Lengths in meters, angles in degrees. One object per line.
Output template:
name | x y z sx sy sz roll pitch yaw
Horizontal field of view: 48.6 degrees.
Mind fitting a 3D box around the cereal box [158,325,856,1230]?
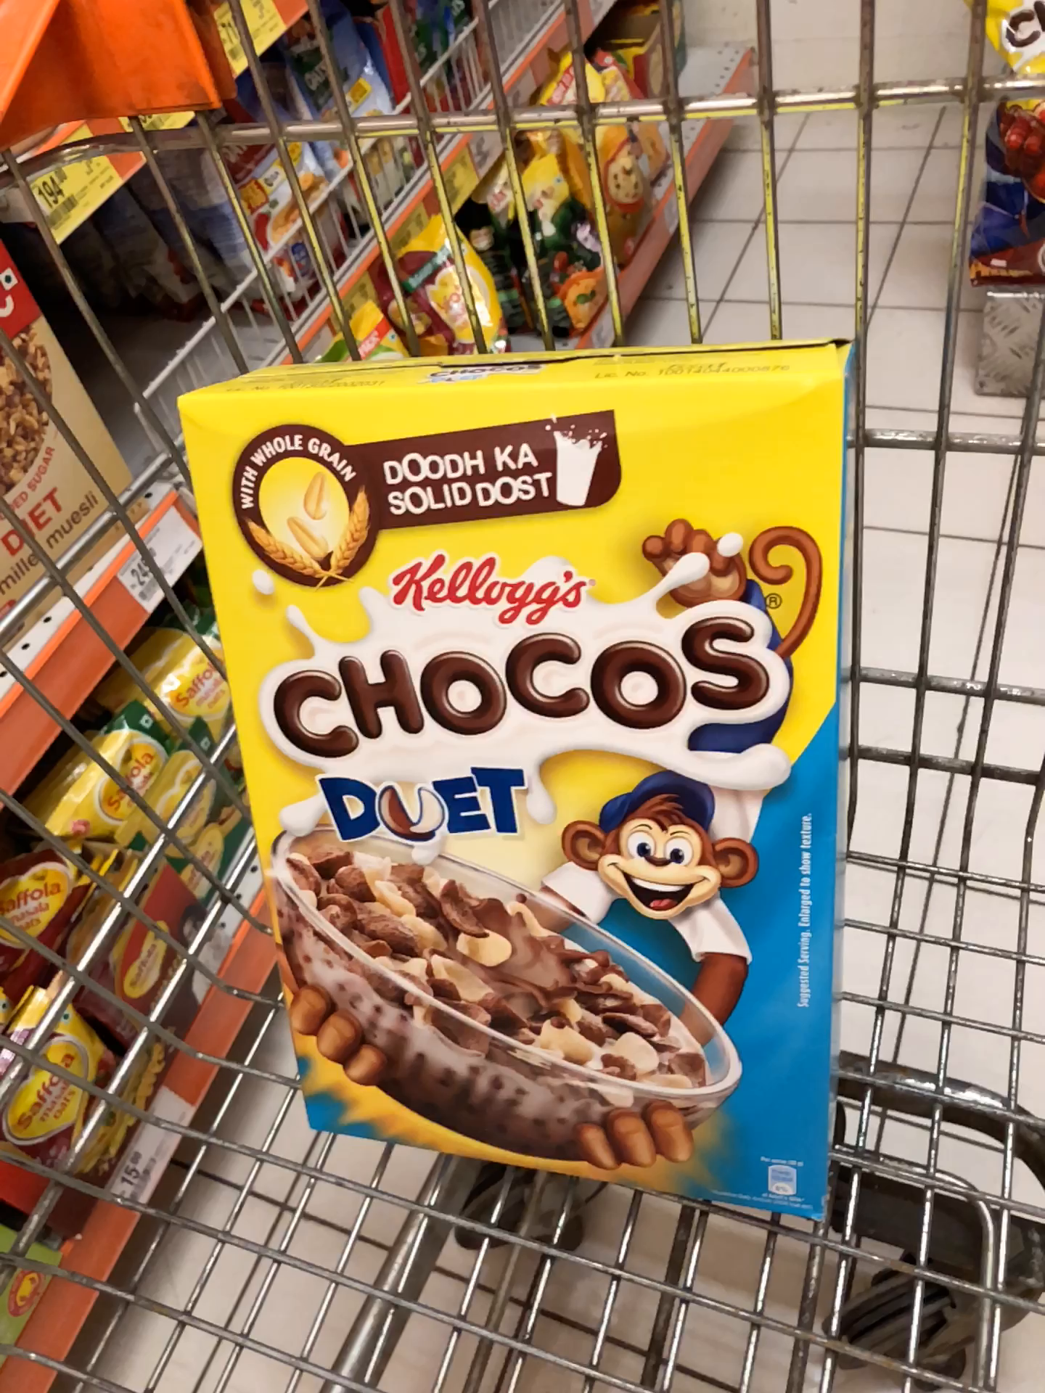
cereal box | 0.006 0.026 0.366 0.180 0.259 0.070 3 22 18
